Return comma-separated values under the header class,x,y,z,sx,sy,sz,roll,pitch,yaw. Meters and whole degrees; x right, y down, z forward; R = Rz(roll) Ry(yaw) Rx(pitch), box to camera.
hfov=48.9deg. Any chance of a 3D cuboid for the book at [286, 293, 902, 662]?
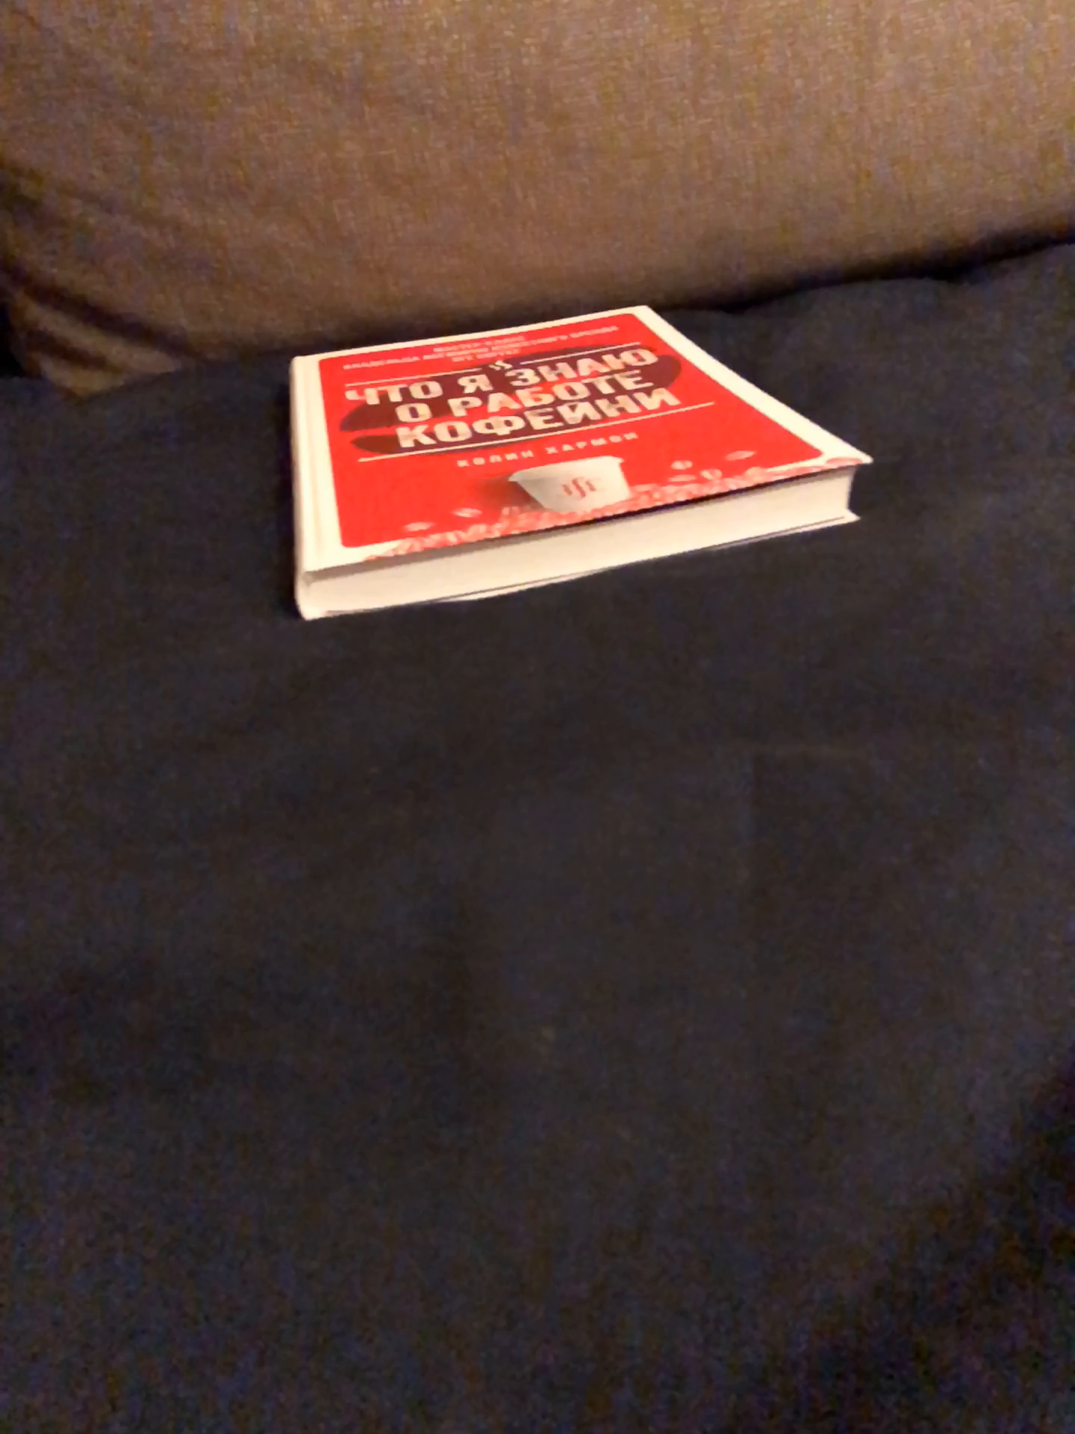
class,x,y,z,sx,sy,sz,roll,pitch,yaw
book,-0.003,-0.093,0.386,0.153,0.020,0.224,-12,32,-5
